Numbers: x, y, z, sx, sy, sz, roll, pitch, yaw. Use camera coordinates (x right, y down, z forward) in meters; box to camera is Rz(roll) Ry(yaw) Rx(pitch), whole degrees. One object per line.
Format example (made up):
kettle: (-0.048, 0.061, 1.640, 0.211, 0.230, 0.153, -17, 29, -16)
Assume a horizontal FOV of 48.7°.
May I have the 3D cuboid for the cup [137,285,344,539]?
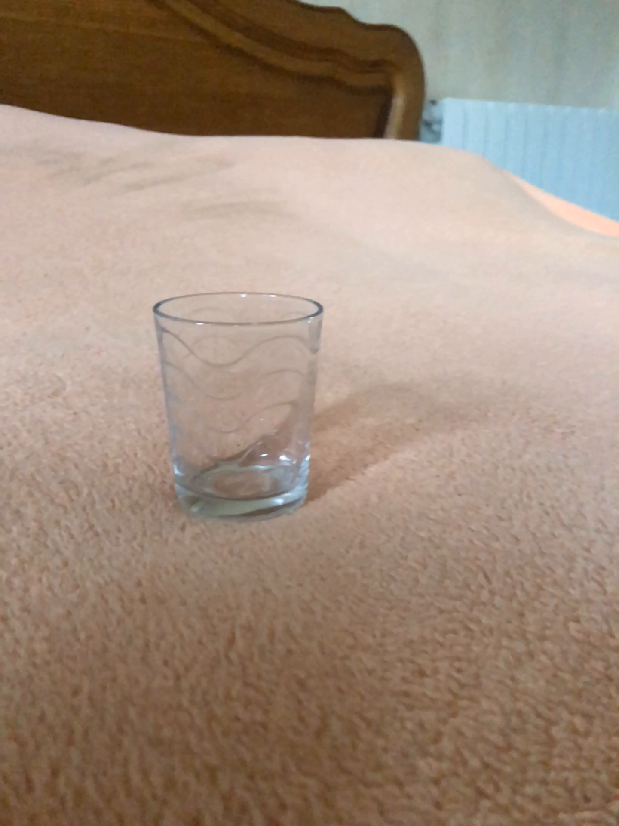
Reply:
cup: (-0.023, -0.005, 0.270, 0.060, 0.080, 0.060, 1, 19, 0)
